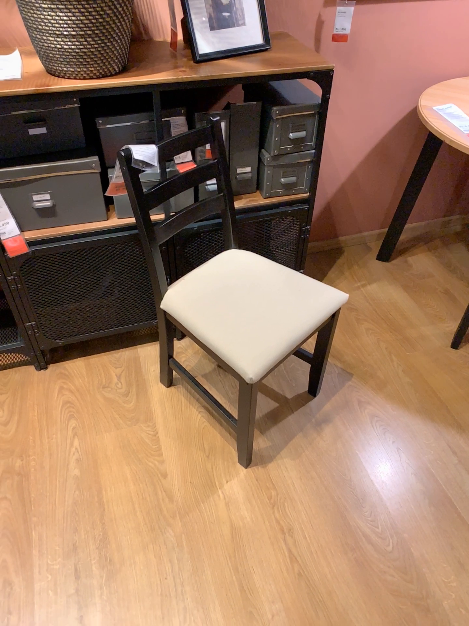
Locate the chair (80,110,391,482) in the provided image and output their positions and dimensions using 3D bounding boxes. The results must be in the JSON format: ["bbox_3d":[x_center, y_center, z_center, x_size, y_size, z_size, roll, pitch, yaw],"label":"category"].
[{"bbox_3d":[-0.008,-0.040,1.319,0.541,0.767,0.431,33,52,29],"label":"chair"}]
